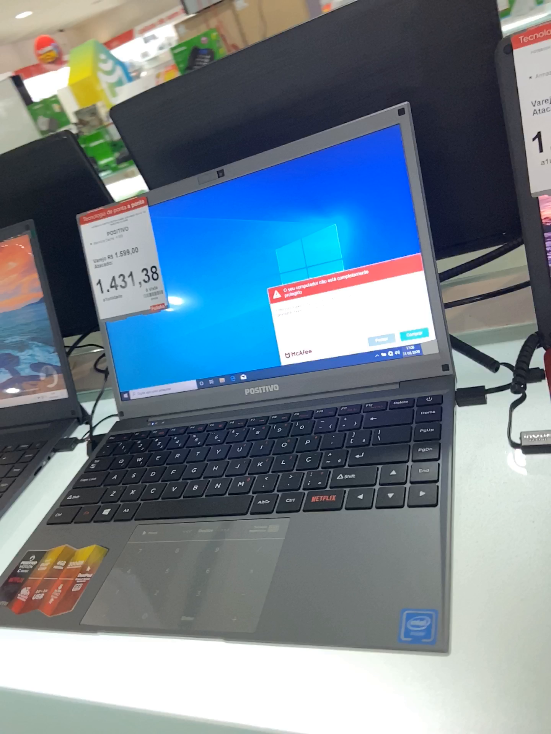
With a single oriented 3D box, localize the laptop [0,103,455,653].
[{"bbox_3d":[-0.060,-0.009,0.415,0.330,0.183,0.320,-9,32,24],"label":"laptop"}]
